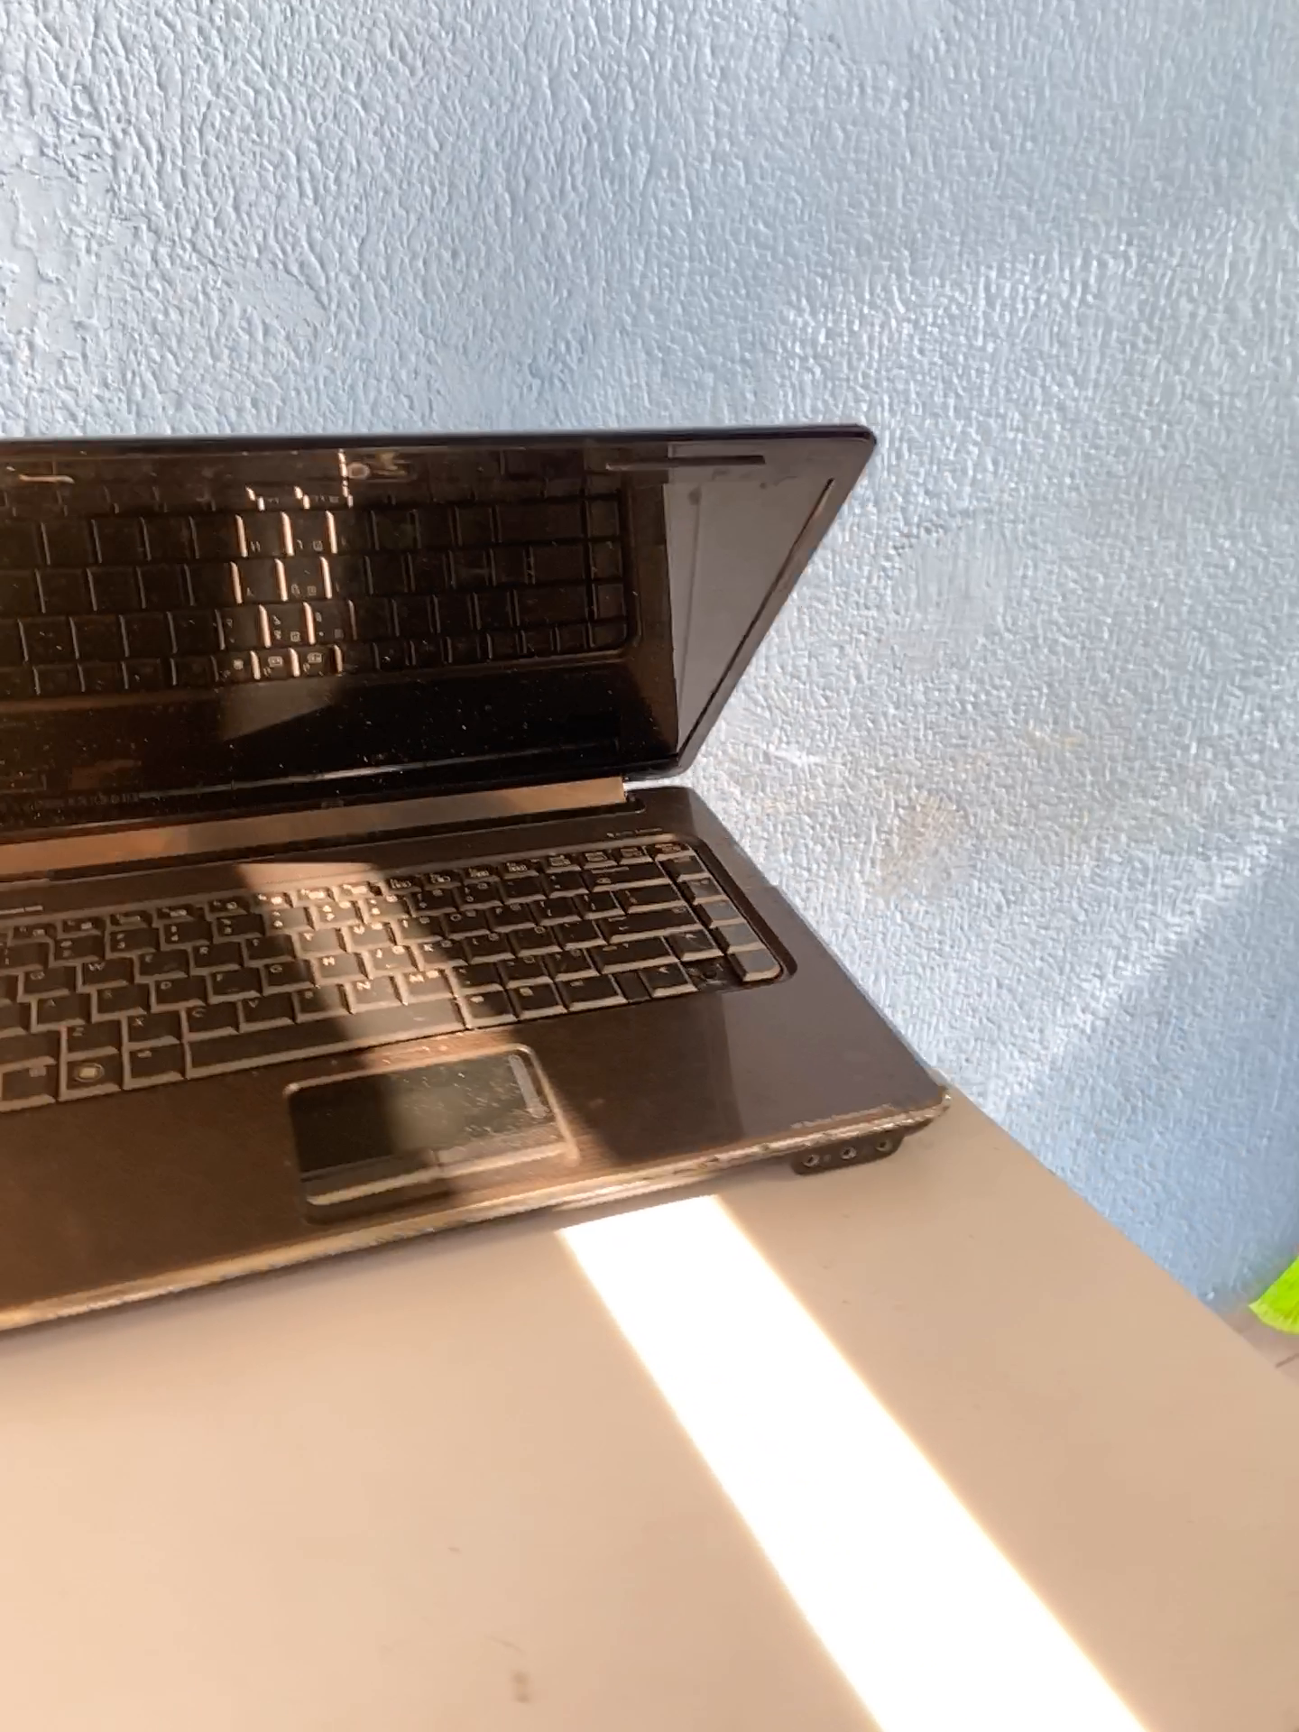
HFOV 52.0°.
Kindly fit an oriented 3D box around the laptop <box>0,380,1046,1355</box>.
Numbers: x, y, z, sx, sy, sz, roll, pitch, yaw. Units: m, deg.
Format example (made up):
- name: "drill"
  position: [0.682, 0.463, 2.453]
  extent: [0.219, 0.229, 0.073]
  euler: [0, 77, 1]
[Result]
- name: "laptop"
  position: [-0.097, -0.040, 0.454]
  extent: [0.344, 0.190, 0.246]
  euler: [-8, 30, -19]
